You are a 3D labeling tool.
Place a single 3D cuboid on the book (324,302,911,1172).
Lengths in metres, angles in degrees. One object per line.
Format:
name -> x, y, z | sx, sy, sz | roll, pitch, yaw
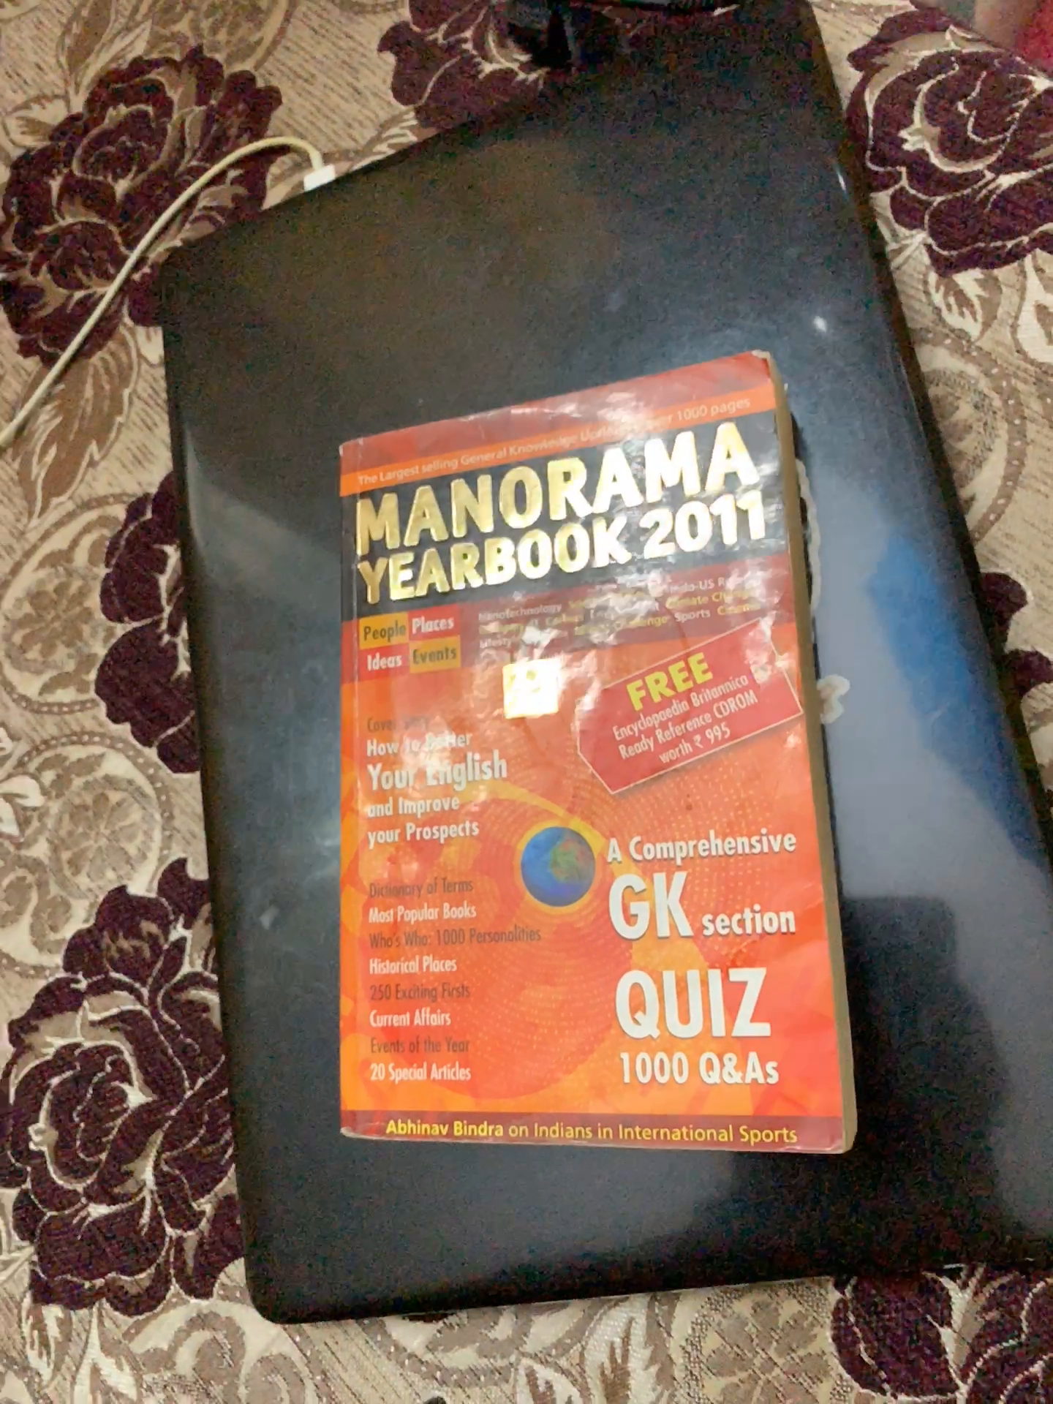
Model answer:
book -> 0.021, 0.010, 0.303 | 0.140, 0.050, 0.210 | -6, 75, 17
